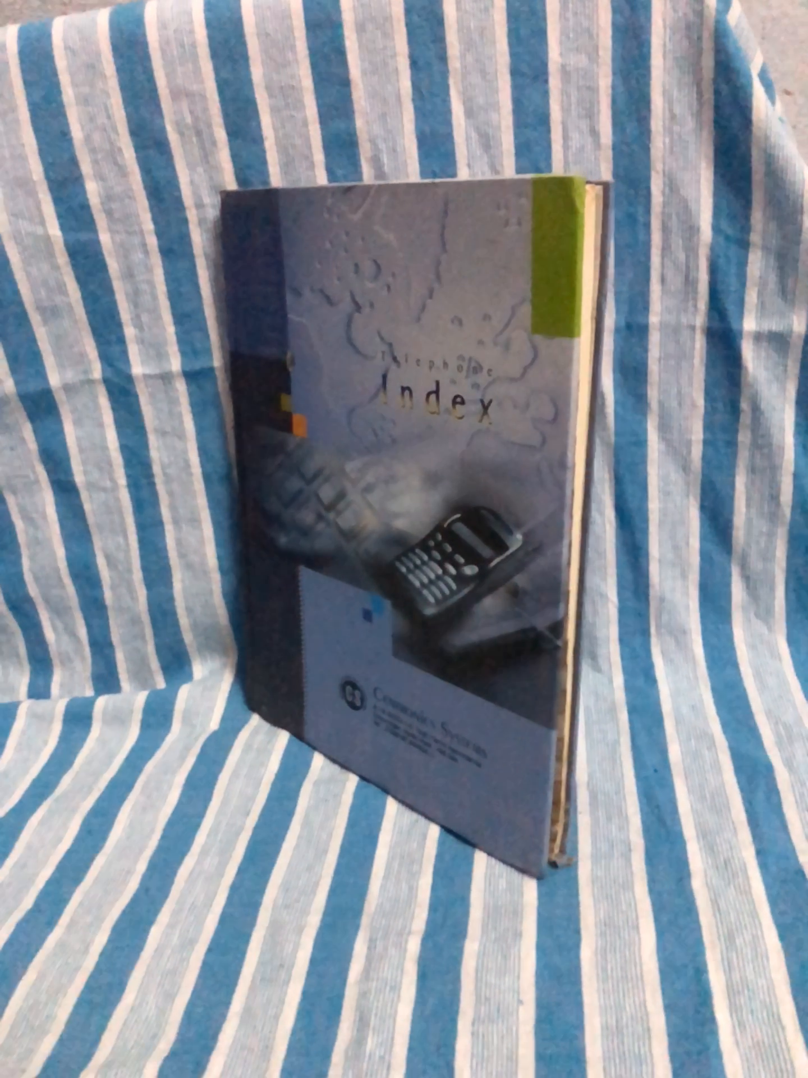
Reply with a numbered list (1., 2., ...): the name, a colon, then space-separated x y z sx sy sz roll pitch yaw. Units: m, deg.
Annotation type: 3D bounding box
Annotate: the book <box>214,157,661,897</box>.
1. book: -0.002 -0.012 0.359 0.193 0.252 0.023 18 26 41
